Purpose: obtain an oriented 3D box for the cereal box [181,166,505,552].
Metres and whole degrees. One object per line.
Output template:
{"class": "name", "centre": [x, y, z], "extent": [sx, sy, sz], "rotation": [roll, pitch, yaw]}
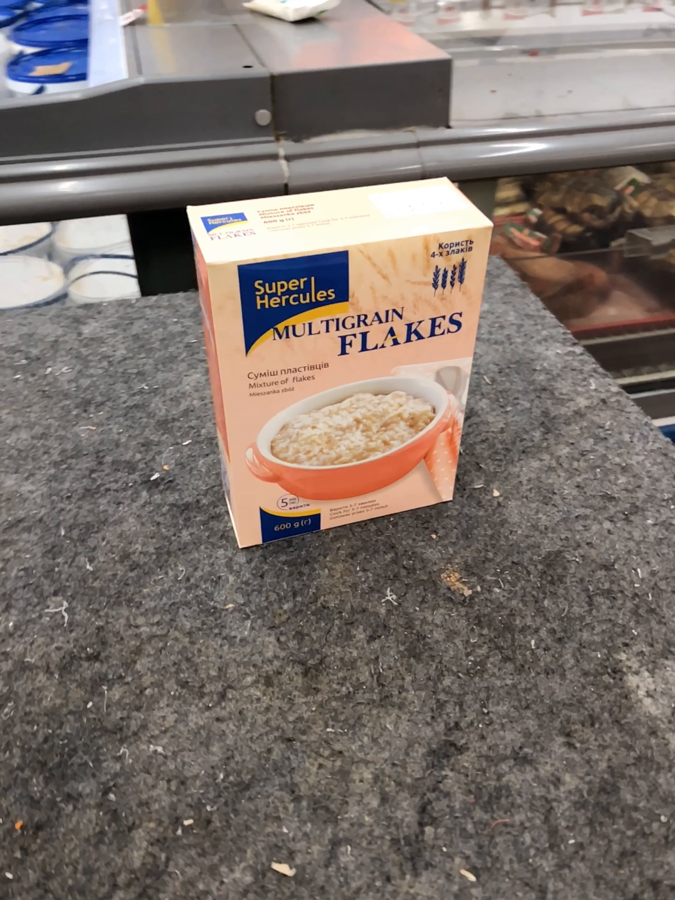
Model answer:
{"class": "cereal box", "centre": [0.001, -0.048, 0.441], "extent": [0.150, 0.199, 0.070], "rotation": [-11, 42, -13]}
